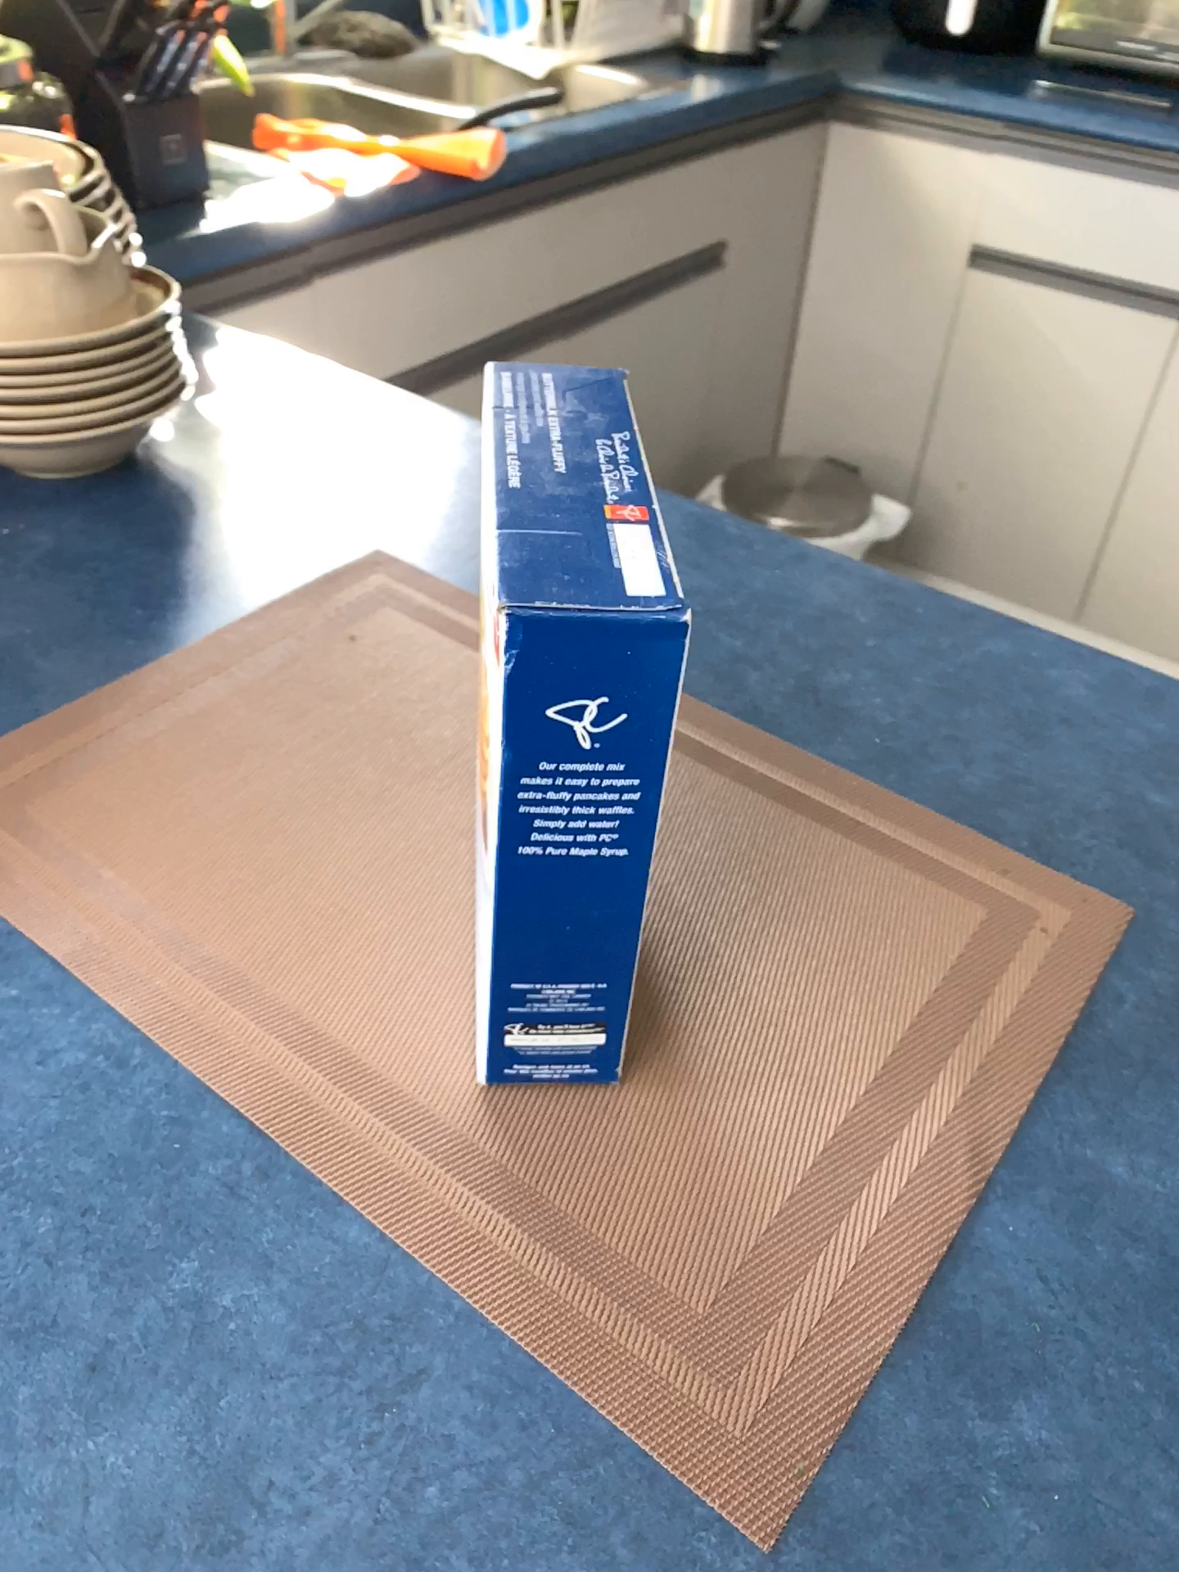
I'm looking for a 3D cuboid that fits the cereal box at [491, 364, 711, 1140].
[{"bbox_3d":[-0.008,-0.013,0.427,0.050,0.208,0.172,-1,39,-6],"label":"cereal box"}]
